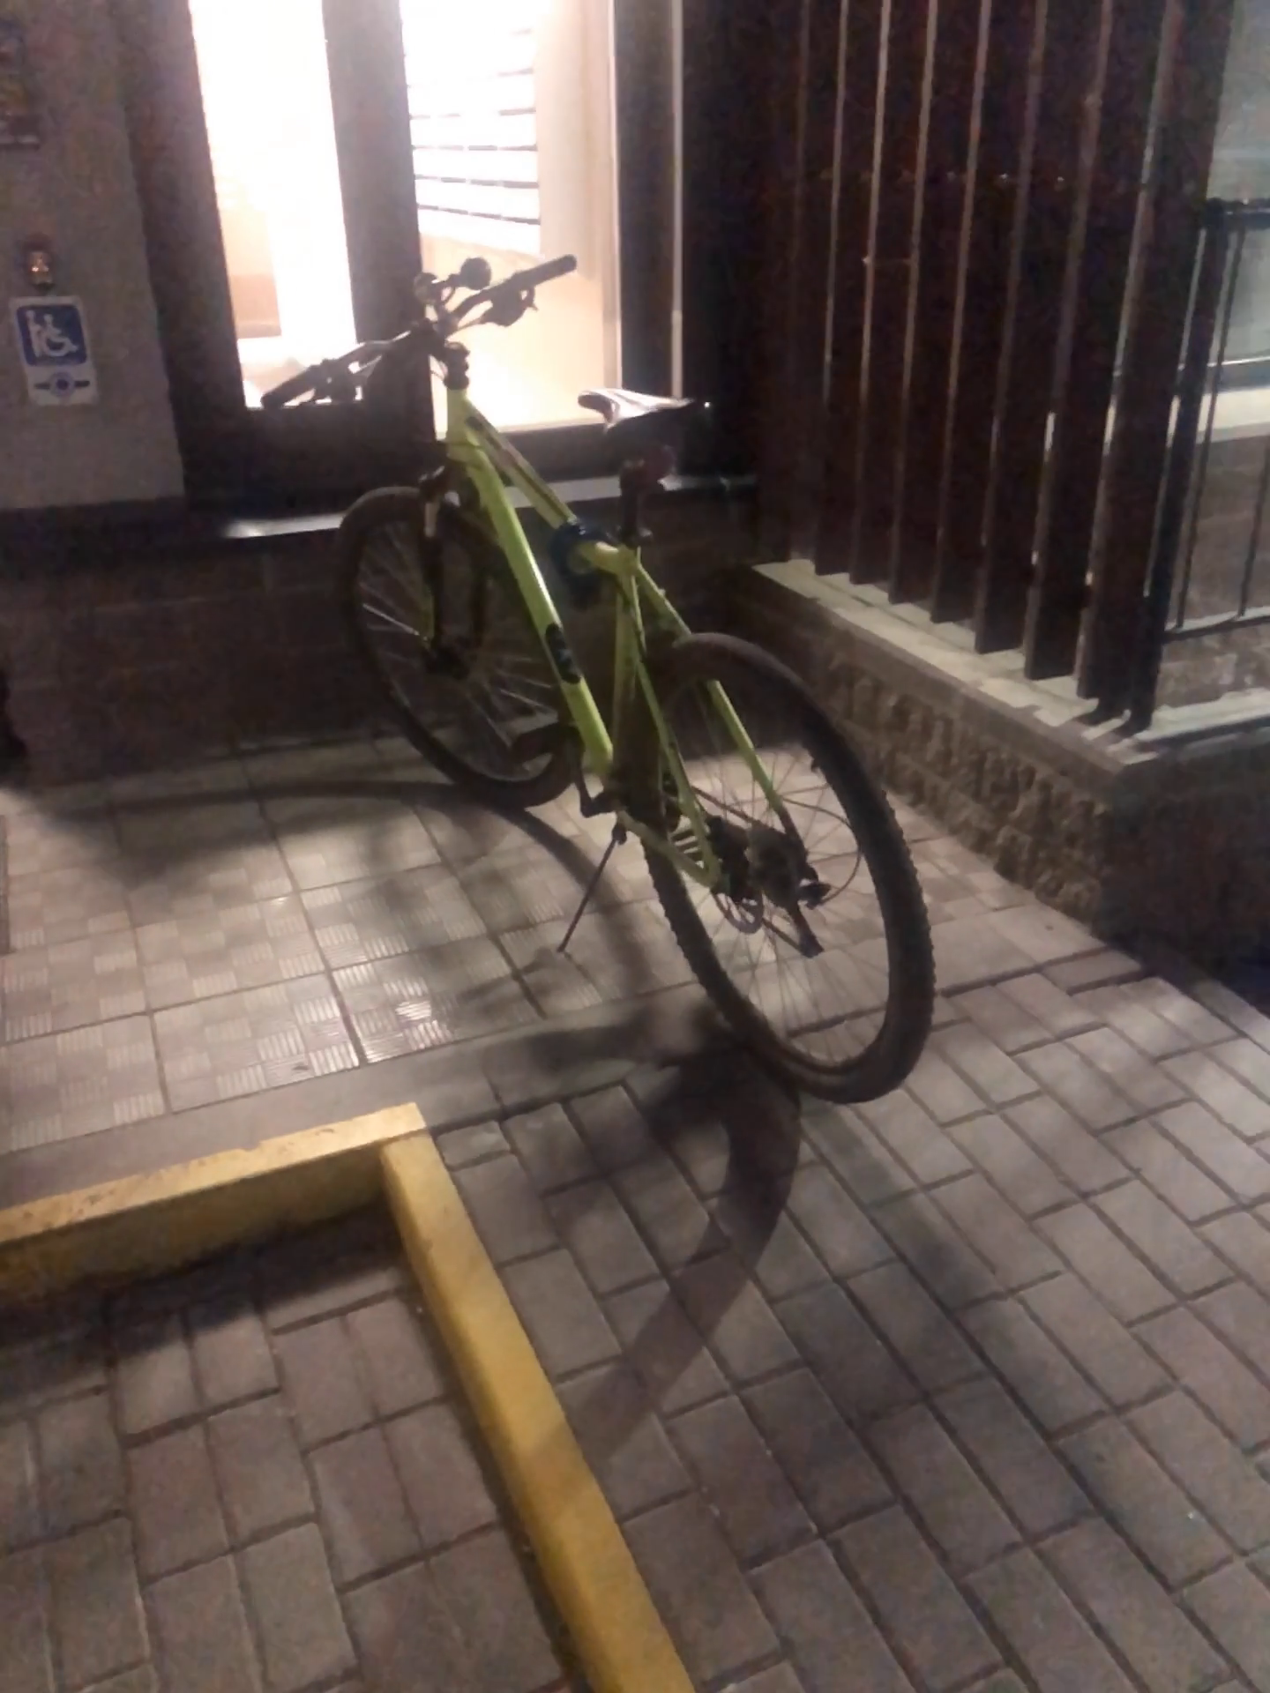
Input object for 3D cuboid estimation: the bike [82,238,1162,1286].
[{"bbox_3d":[-0.199,-0.356,2.317,0.720,1.095,1.766,-17,31,-30],"label":"bike"}]
